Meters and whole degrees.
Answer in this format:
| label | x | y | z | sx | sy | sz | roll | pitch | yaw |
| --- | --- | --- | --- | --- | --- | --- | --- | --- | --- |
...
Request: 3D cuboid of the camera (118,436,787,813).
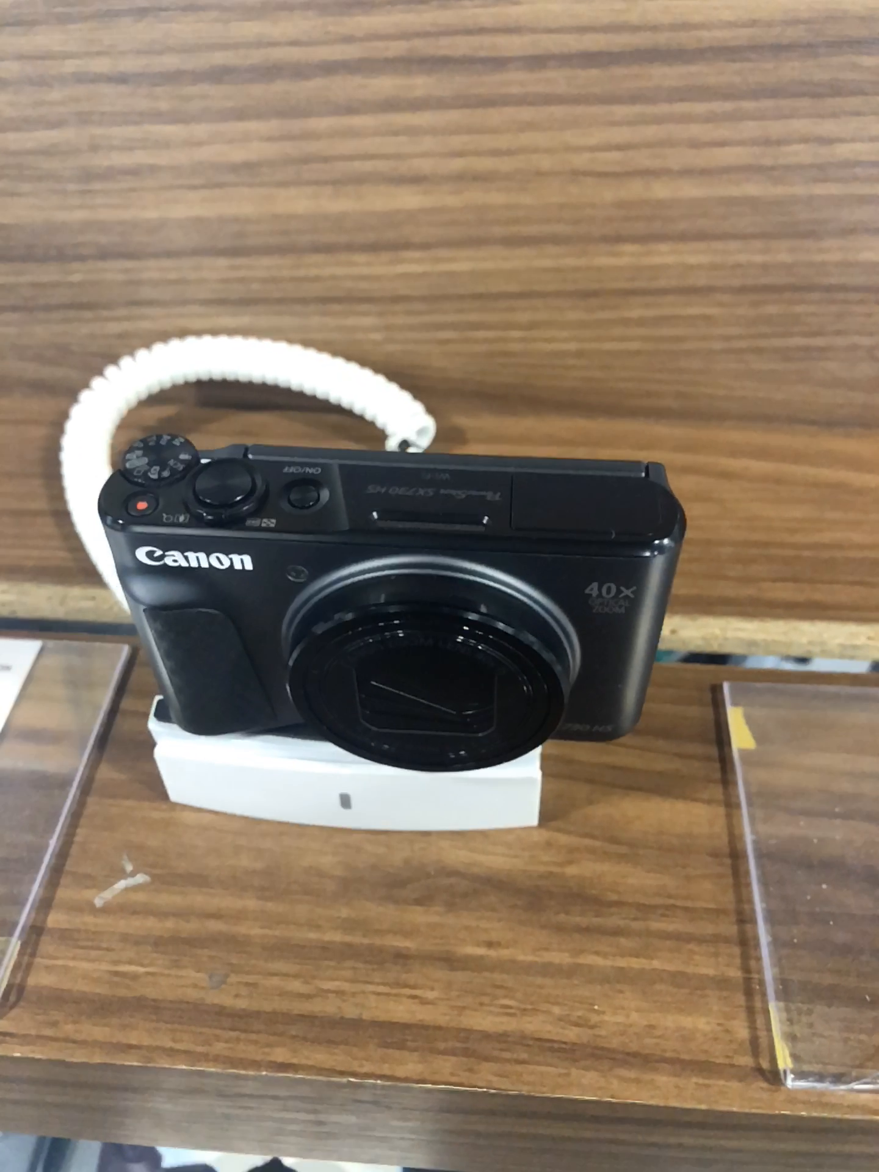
| label | x | y | z | sx | sy | sz | roll | pitch | yaw |
| --- | --- | --- | --- | --- | --- | --- | --- | --- | --- |
| camera | 0.003 | 0.009 | 0.196 | 0.109 | 0.063 | 0.037 | 3 | 48 | 3 |
